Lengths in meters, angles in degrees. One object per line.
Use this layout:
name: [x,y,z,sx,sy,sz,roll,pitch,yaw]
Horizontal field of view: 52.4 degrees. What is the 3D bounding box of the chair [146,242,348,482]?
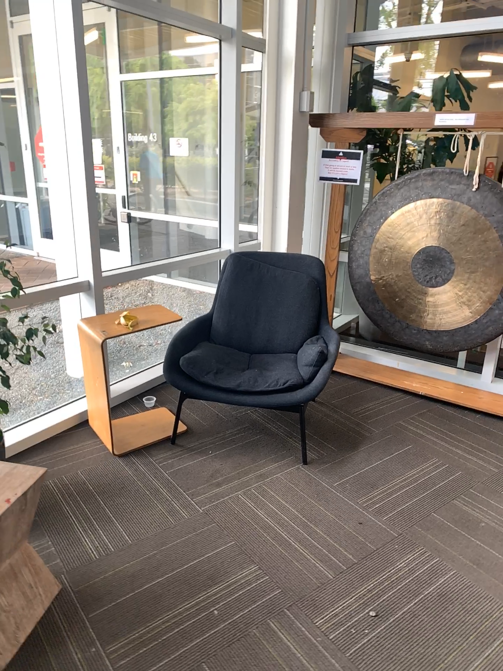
chair: [0.033,0.067,2.914,0.900,0.995,0.944,5,19,11]
